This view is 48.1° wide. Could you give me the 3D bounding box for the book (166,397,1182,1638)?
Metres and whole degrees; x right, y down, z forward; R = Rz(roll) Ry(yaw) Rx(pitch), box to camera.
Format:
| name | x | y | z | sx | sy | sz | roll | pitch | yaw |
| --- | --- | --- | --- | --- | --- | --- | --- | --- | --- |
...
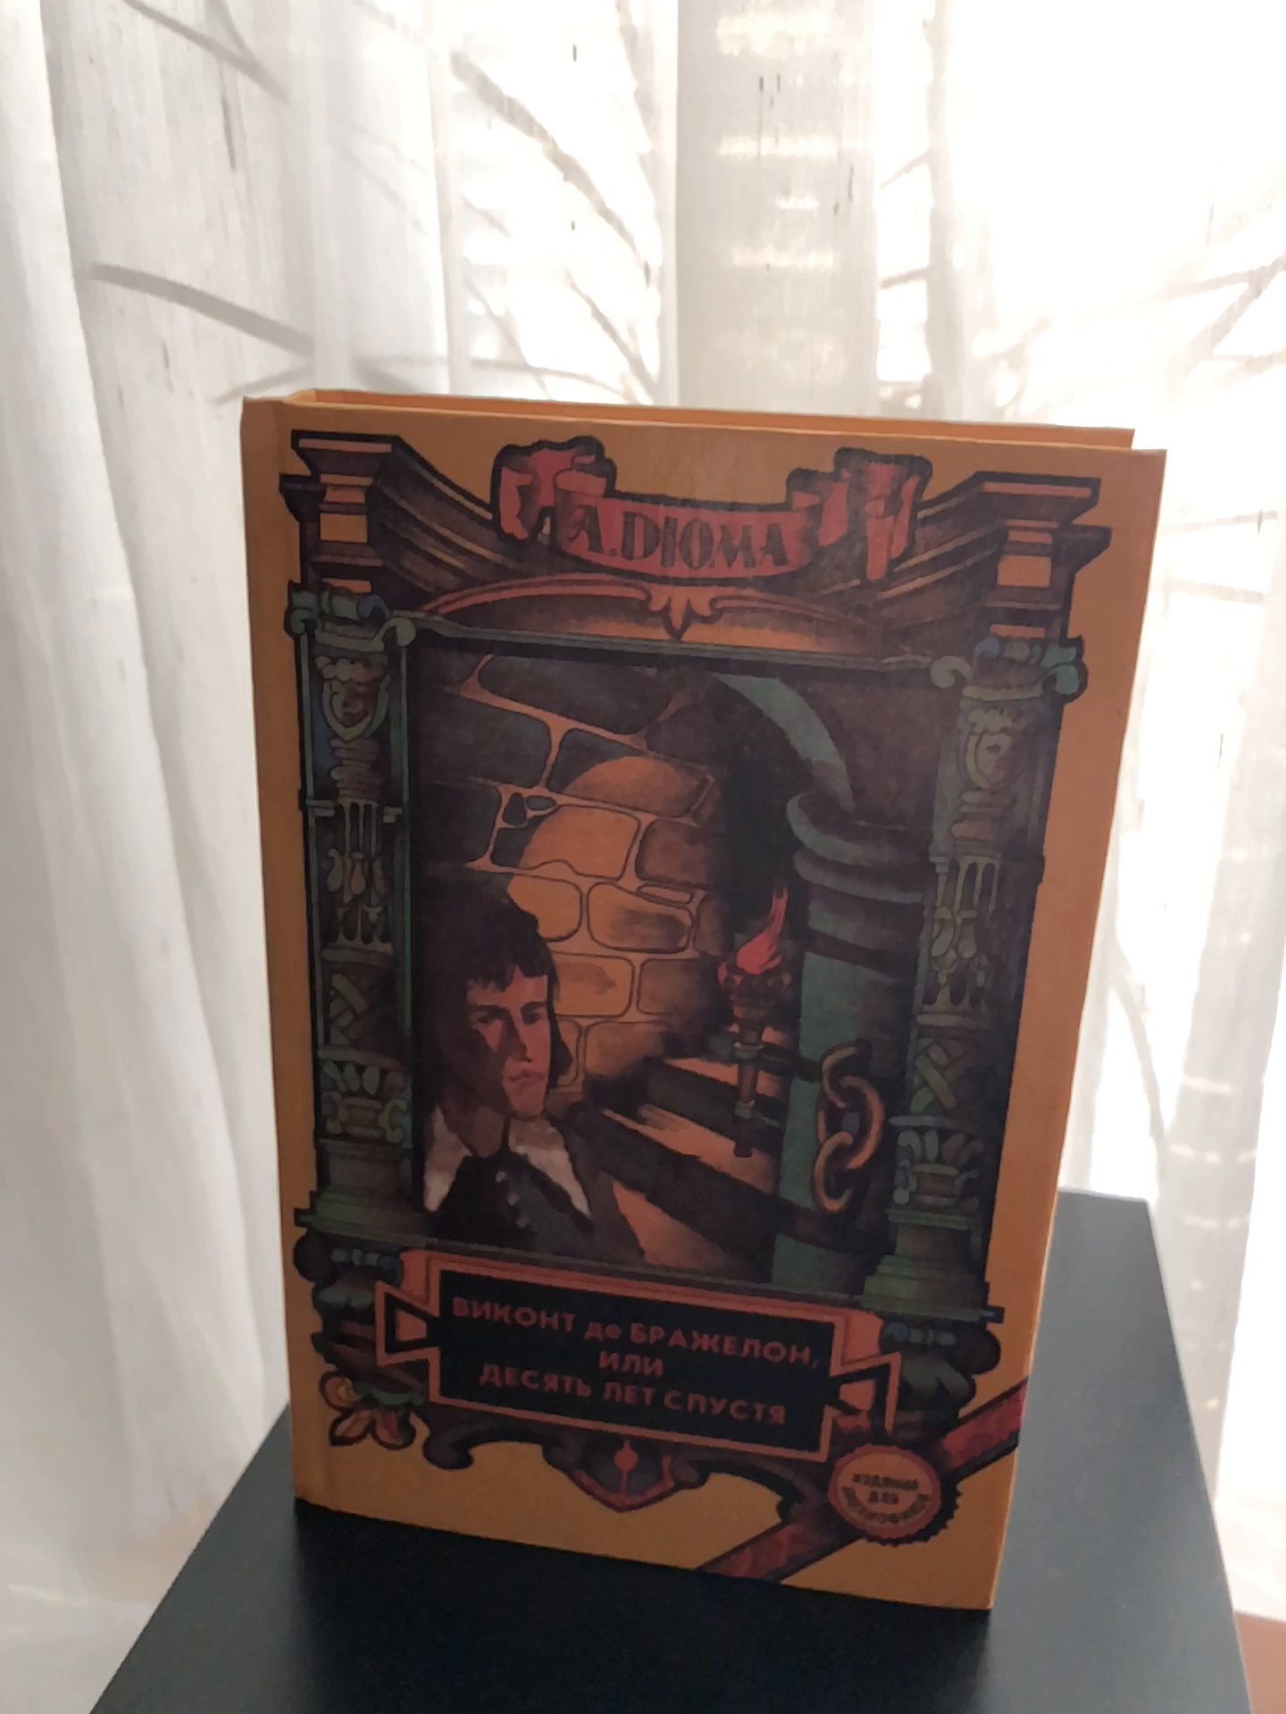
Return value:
| name | x | y | z | sx | sy | sz | roll | pitch | yaw |
| --- | --- | --- | --- | --- | --- | --- | --- | --- | --- |
| book | 0.002 | 0.027 | 0.246 | 0.141 | 0.198 | 0.040 | 5 | 18 | 10 |
